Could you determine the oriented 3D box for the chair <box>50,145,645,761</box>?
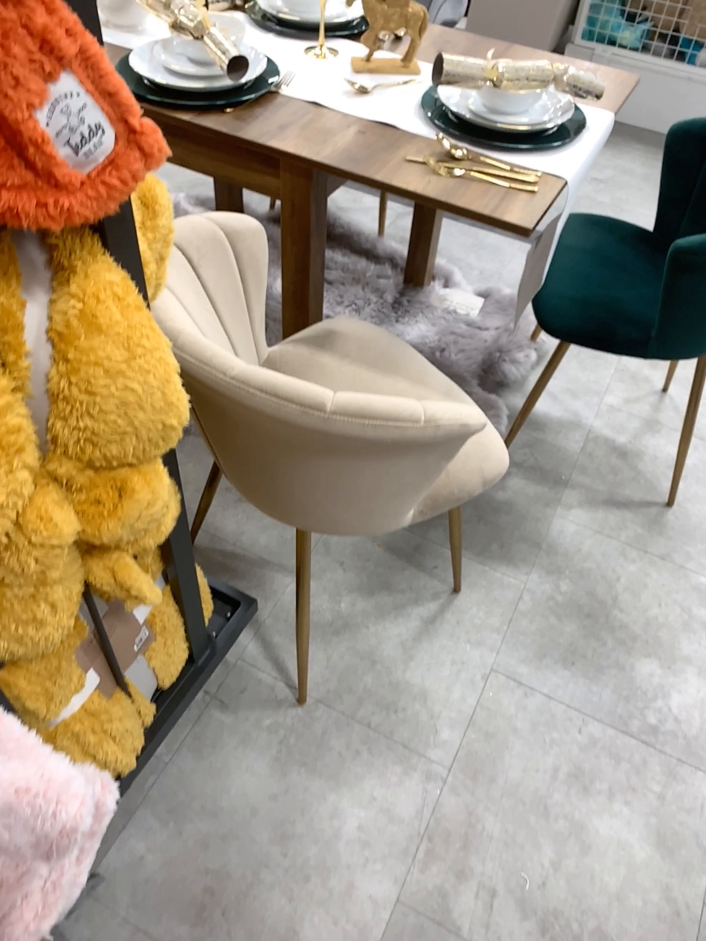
[{"bbox_3d":[-0.035,-0.039,1.209,0.574,0.666,0.564,-28,56,-26],"label":"chair"}]
